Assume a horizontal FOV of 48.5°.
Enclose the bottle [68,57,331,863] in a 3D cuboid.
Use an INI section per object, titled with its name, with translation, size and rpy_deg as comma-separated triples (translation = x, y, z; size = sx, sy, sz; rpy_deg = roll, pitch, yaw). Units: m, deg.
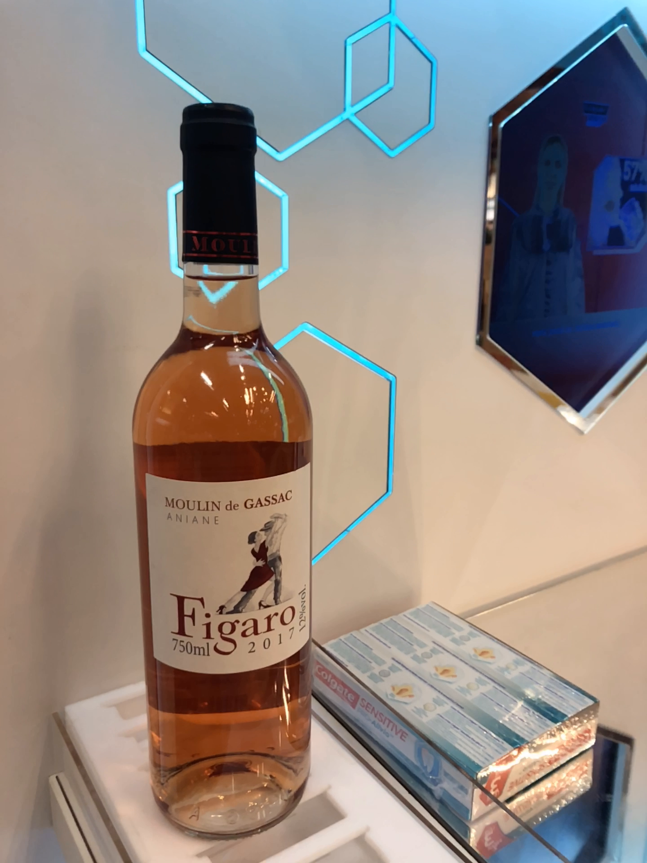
[bottle]
translation = -0.052, 0.021, 0.320
size = 0.090, 0.319, 0.080
rpy_deg = -3, 13, -15
